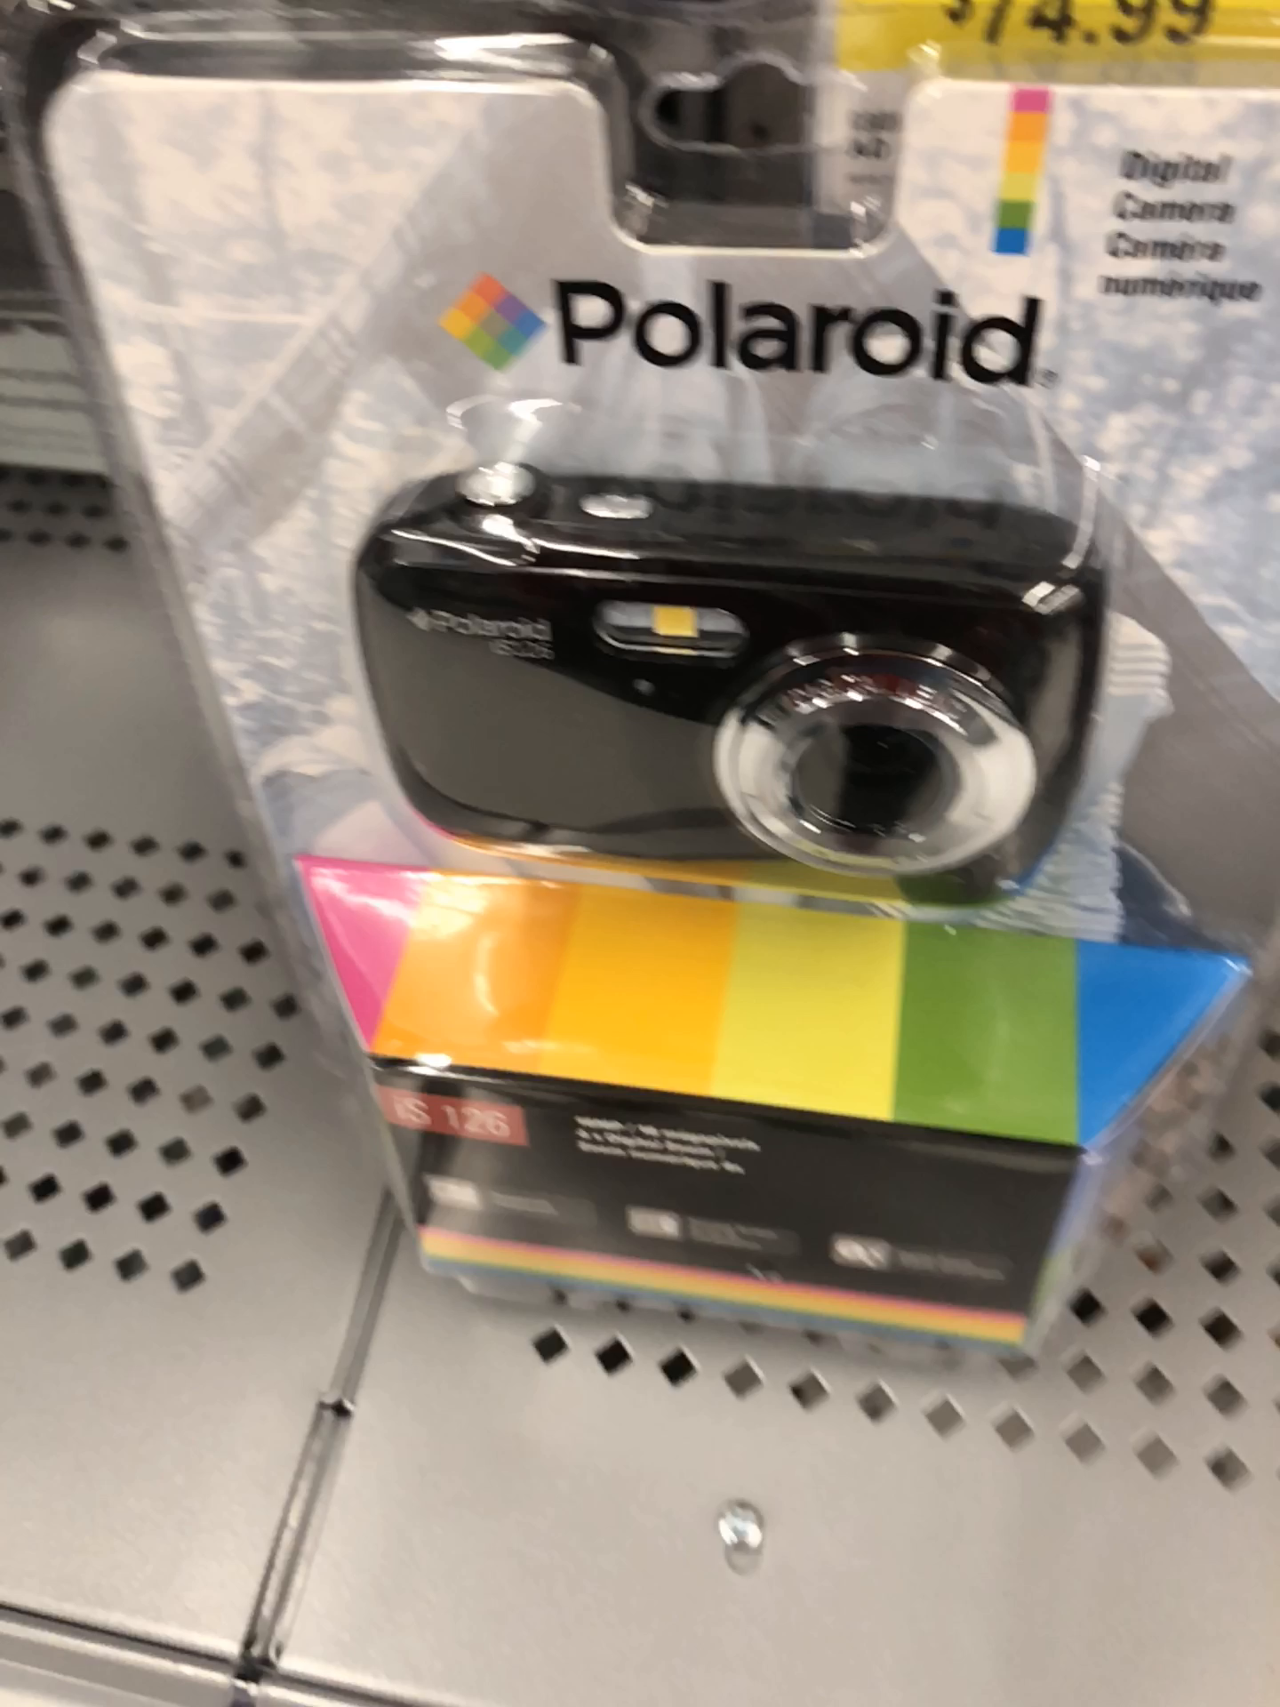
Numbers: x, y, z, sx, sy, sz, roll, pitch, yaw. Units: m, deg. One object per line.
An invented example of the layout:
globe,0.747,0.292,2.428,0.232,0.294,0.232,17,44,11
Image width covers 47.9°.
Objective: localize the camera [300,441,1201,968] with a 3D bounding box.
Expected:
camera,0.014,-0.018,0.192,0.100,0.060,0.030,6,57,9
